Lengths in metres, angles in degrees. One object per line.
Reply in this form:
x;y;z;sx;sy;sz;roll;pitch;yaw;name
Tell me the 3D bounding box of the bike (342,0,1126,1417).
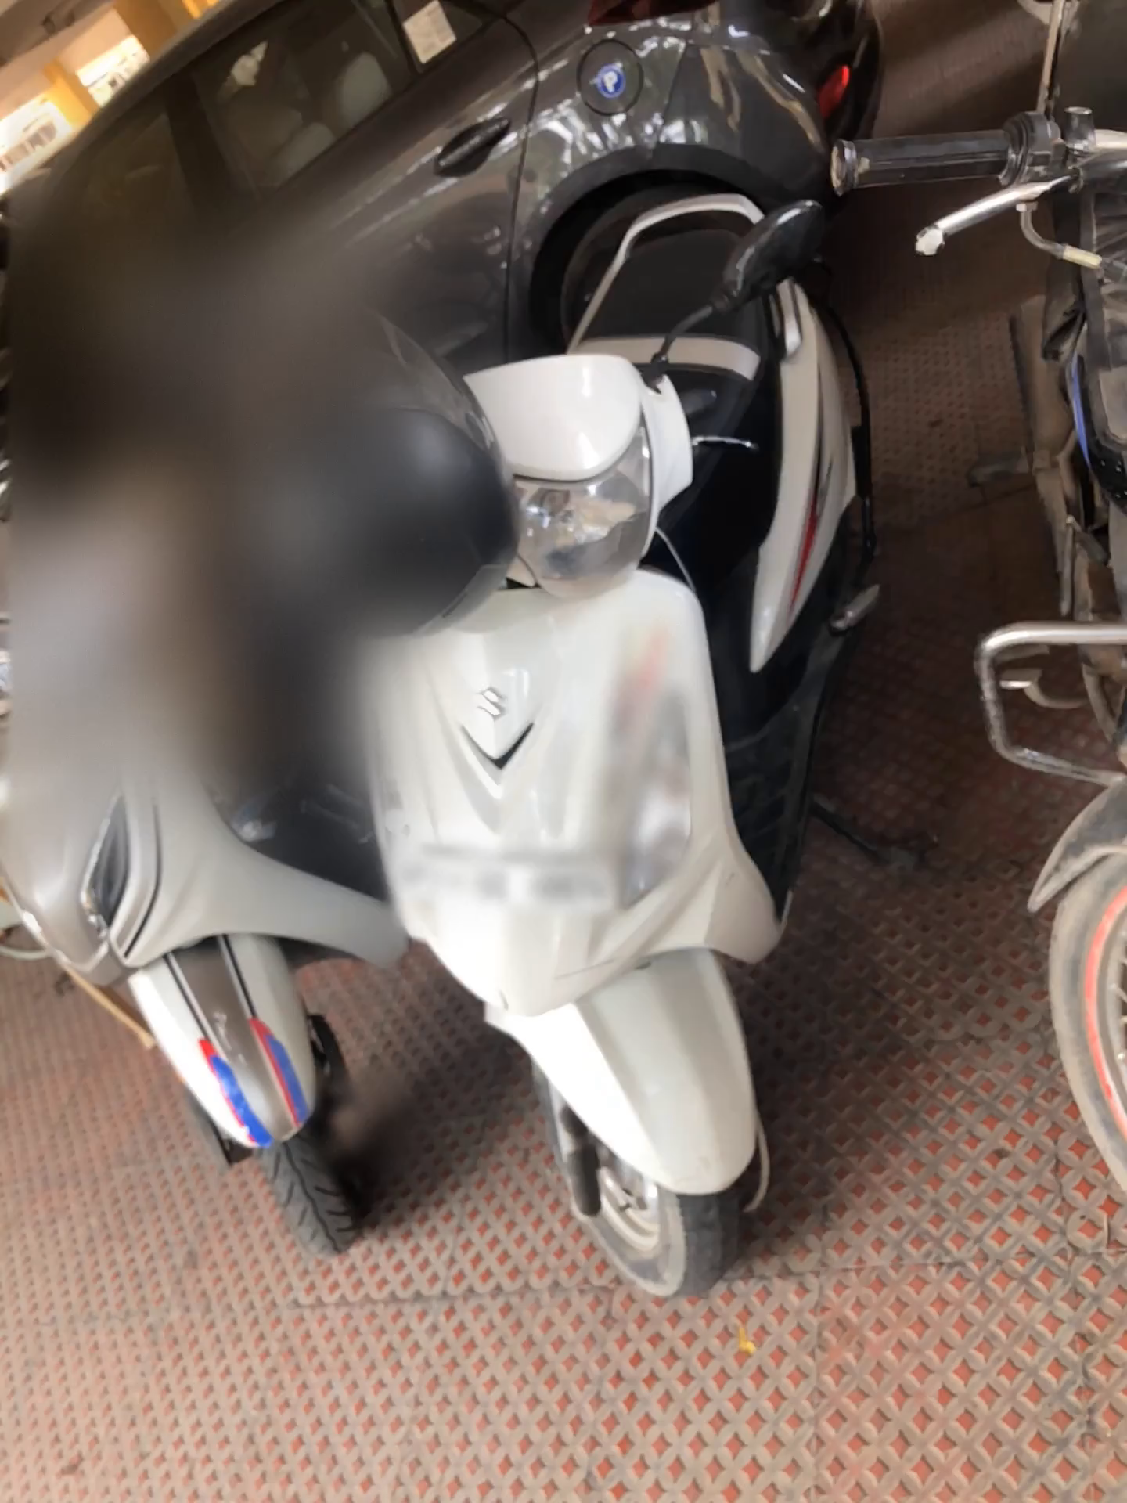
0.403;-0.183;1.674;0.833;0.941;1.514;-20;44;25;bike
